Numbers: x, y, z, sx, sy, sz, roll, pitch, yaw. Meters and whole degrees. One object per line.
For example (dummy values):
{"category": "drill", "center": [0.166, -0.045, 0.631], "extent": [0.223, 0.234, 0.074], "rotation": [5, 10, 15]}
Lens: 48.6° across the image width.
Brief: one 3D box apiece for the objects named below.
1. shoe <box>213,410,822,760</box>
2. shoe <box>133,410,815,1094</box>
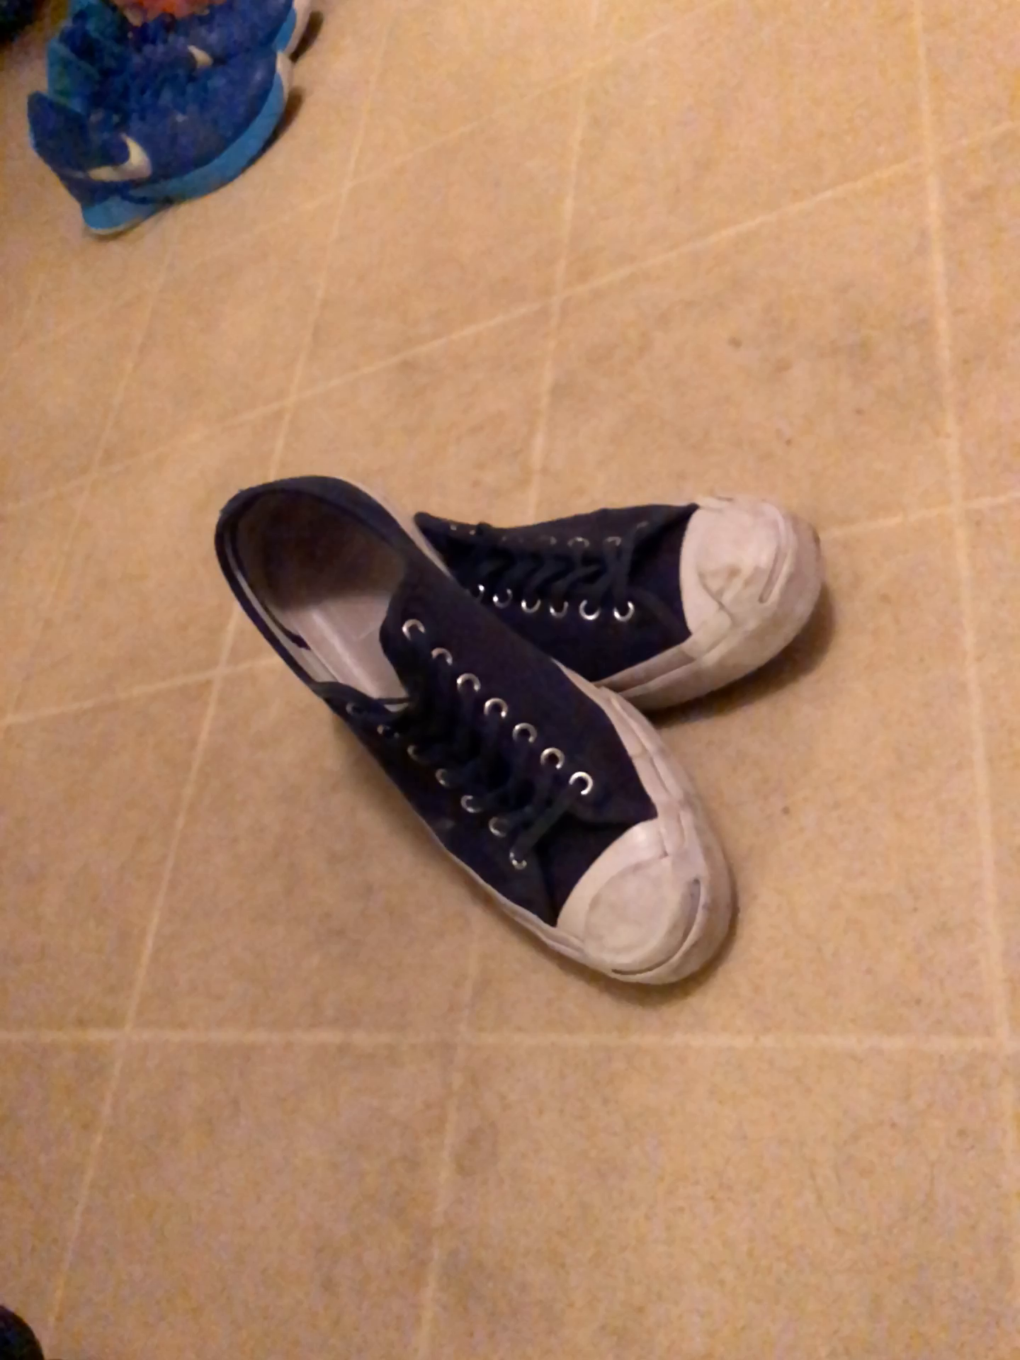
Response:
{"category": "shoe", "center": [0.000, -0.037, 0.570], "extent": [0.290, 0.080, 0.110], "rotation": [-7, 64, 25]}
{"category": "shoe", "center": [-0.023, 0.016, 0.492], "extent": [0.291, 0.100, 0.100], "rotation": [45, 113, 20]}
